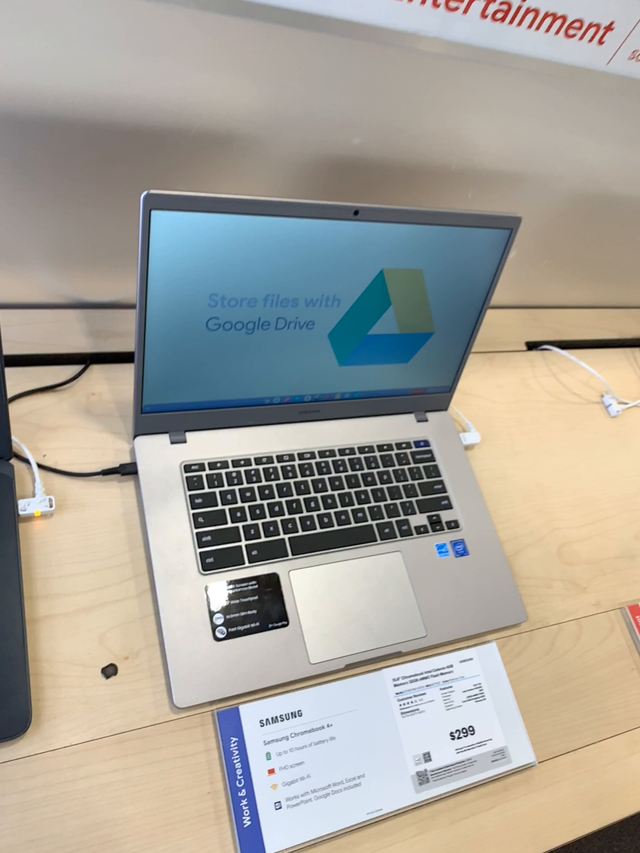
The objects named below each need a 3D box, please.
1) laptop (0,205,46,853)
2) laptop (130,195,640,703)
[{"bbox_3d":[-0.343,0.057,0.384,0.301,0.191,0.287,-6,63,-24],"label":"laptop"},{"bbox_3d":[0.040,0.010,0.566,0.340,0.201,0.325,-5,64,-23],"label":"laptop"}]
